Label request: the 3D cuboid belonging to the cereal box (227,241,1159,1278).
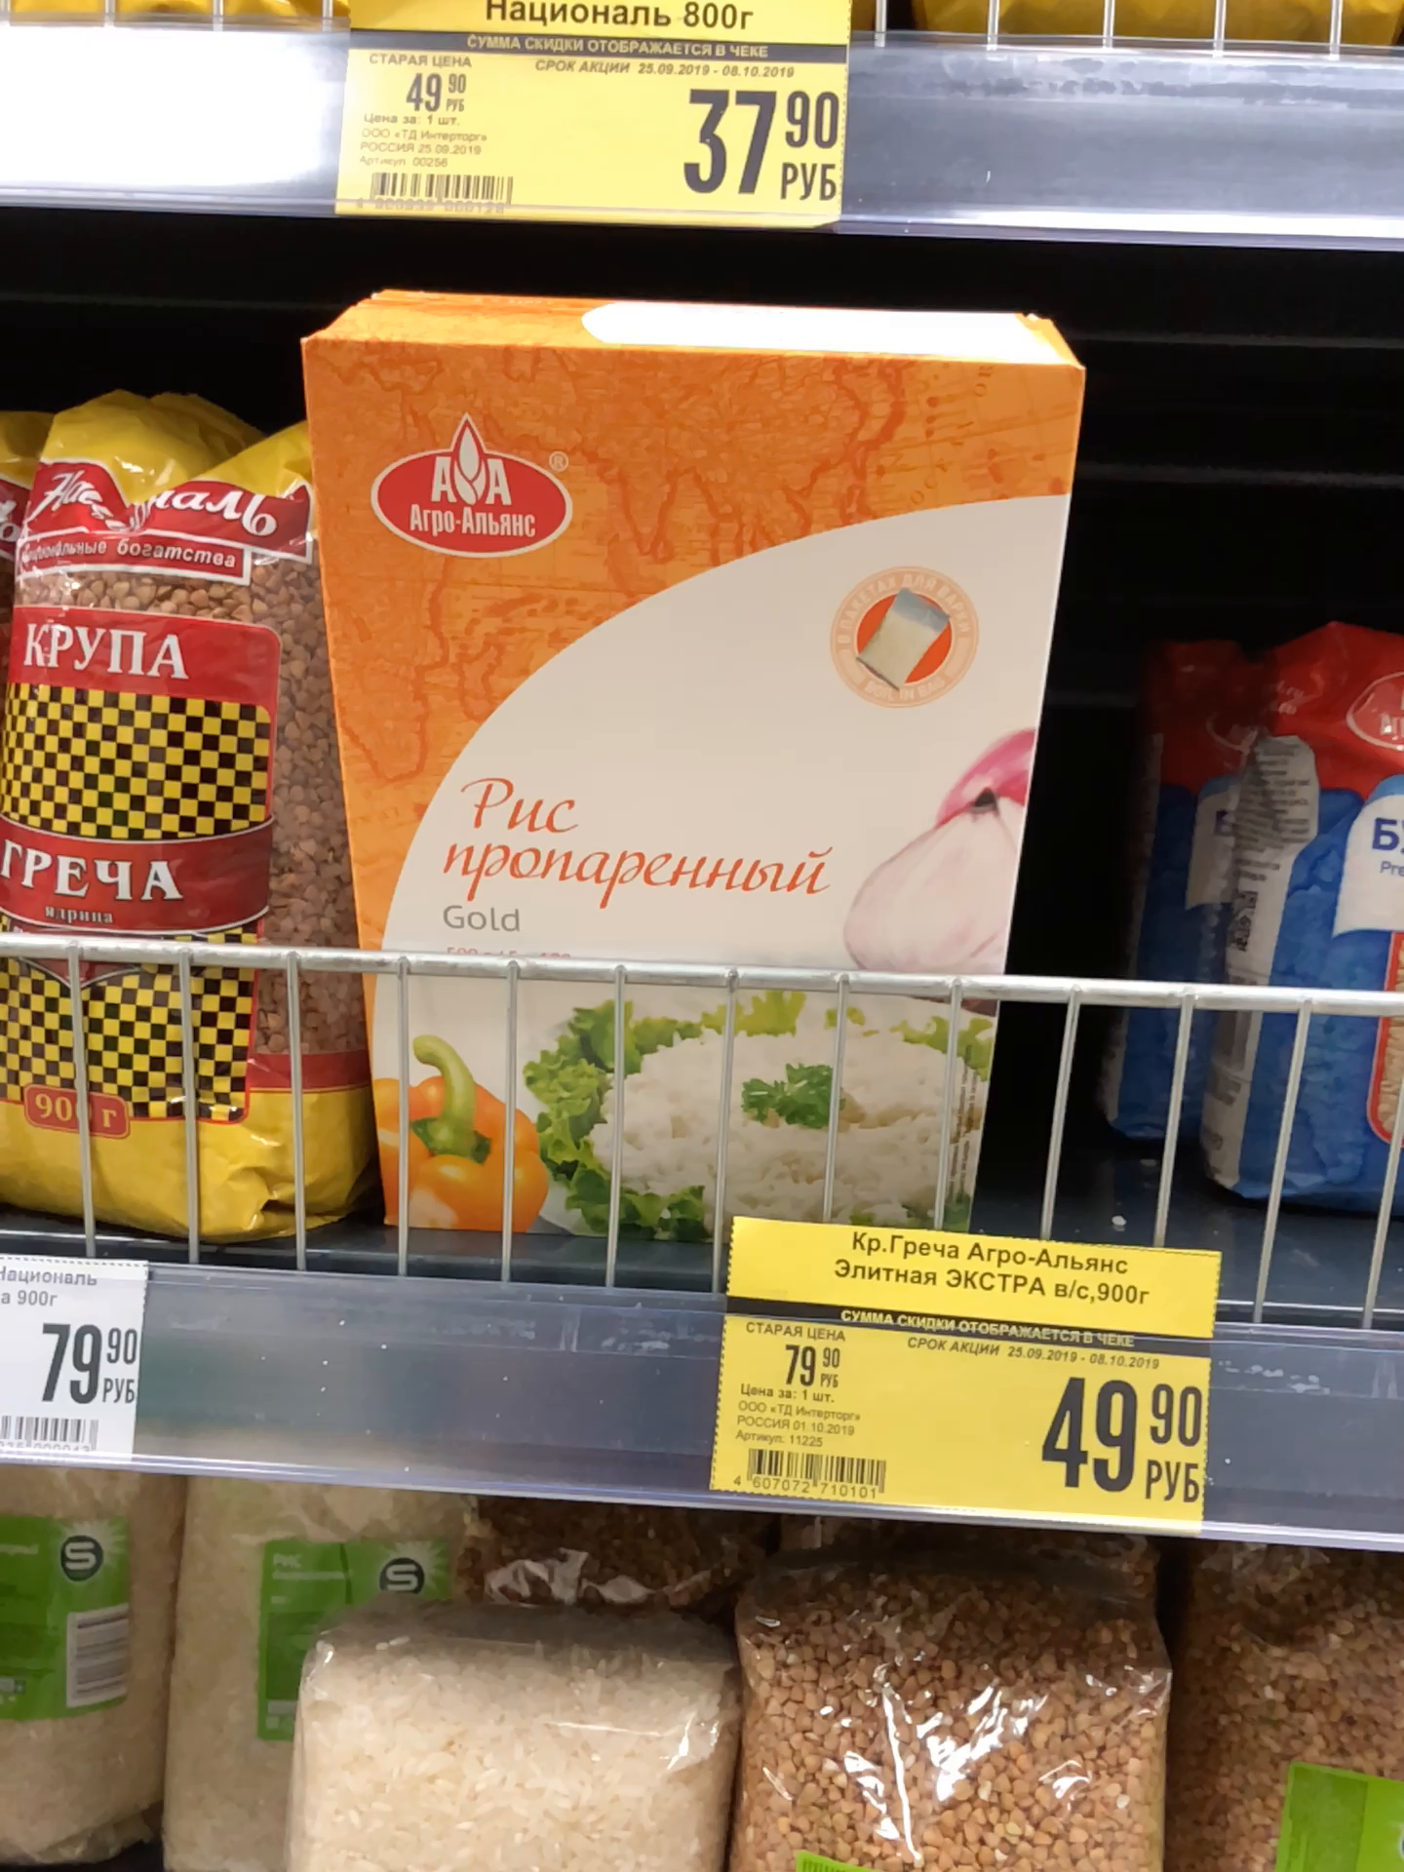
[{"bbox_3d":[-0.003,-0.028,0.307,0.140,0.189,0.060,2,30,1],"label":"cereal box"}]
